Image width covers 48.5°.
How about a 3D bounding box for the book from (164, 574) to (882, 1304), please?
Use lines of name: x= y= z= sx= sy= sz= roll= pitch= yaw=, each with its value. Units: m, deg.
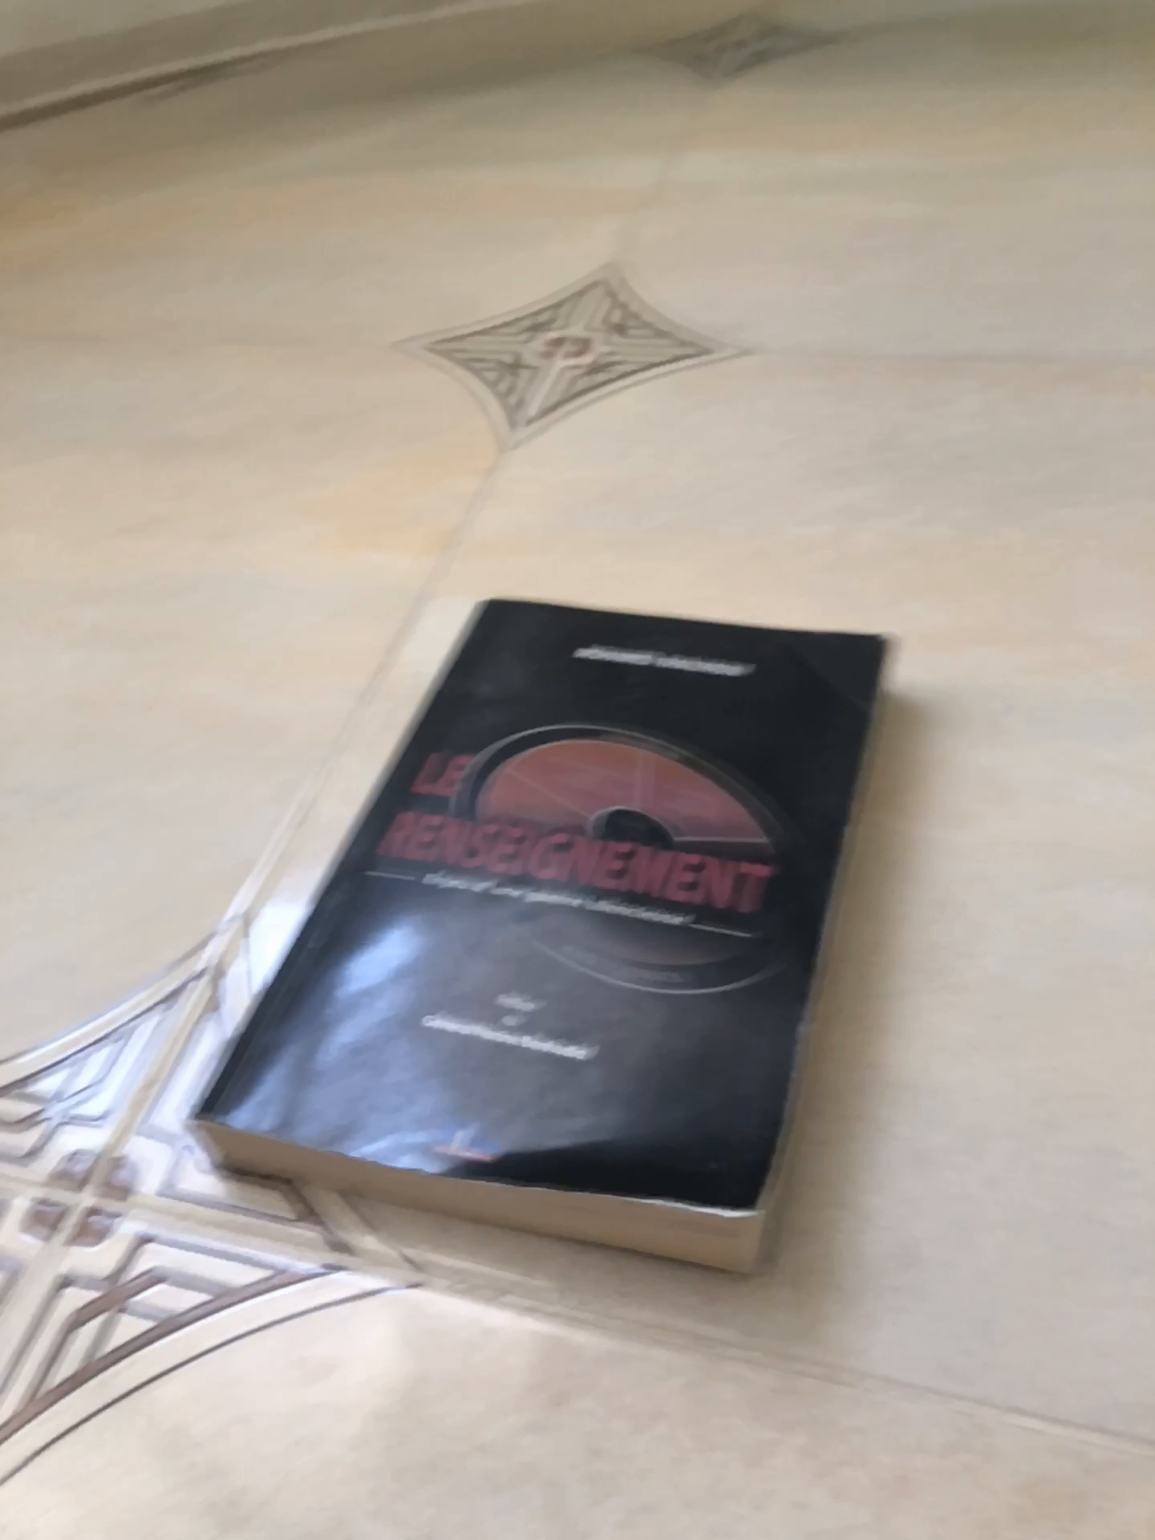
book: x=0.000 y=0.028 z=0.365 sx=0.146 sy=0.037 sz=0.201 roll=8 pitch=49 yaw=15
